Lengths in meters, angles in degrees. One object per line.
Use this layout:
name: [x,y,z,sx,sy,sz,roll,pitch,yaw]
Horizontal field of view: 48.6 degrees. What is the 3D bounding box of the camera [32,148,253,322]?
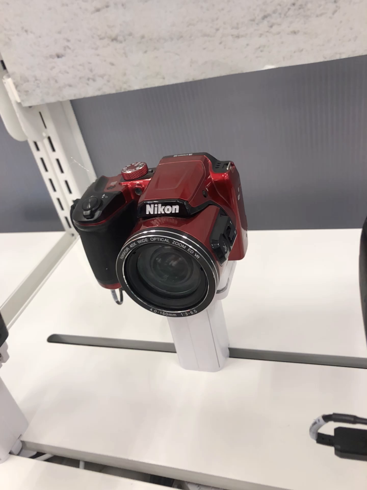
camera: [-0.018,-0.009,0.272,0.110,0.073,0.084,0,35,20]
